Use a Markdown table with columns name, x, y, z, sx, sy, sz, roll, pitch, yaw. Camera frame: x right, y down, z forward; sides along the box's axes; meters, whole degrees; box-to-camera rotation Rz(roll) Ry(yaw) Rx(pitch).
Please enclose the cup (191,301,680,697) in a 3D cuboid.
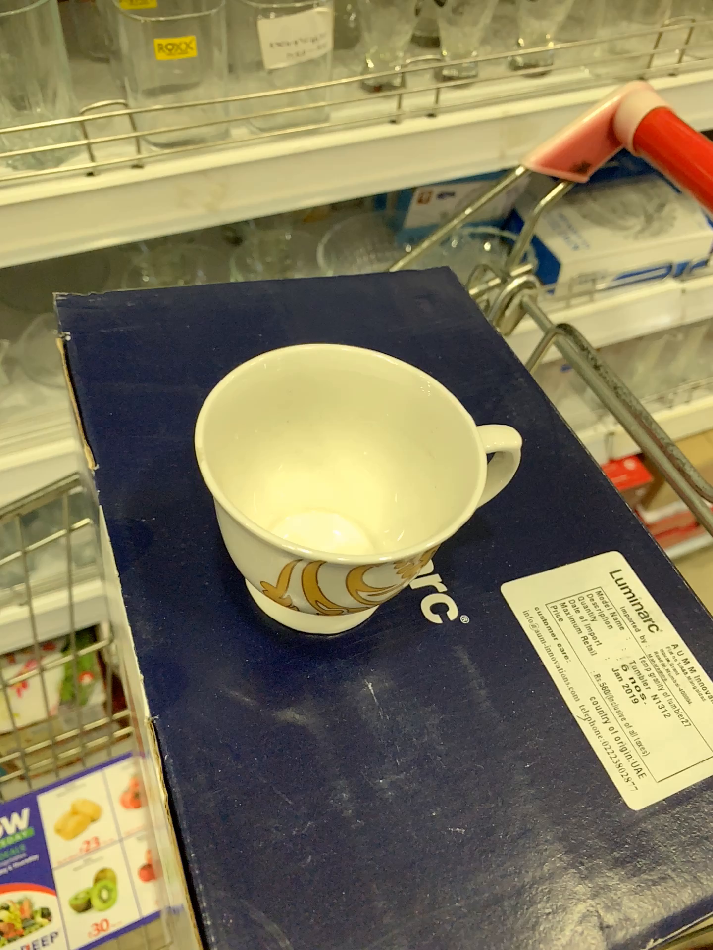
| name | x | y | z | sx | sy | sz | roll | pitch | yaw |
| --- | --- | --- | --- | --- | --- | --- | --- | --- | --- |
| cup | 0.013 | 0.001 | 0.180 | 0.090 | 0.040 | 0.070 | -11 | 54 | -17 |
